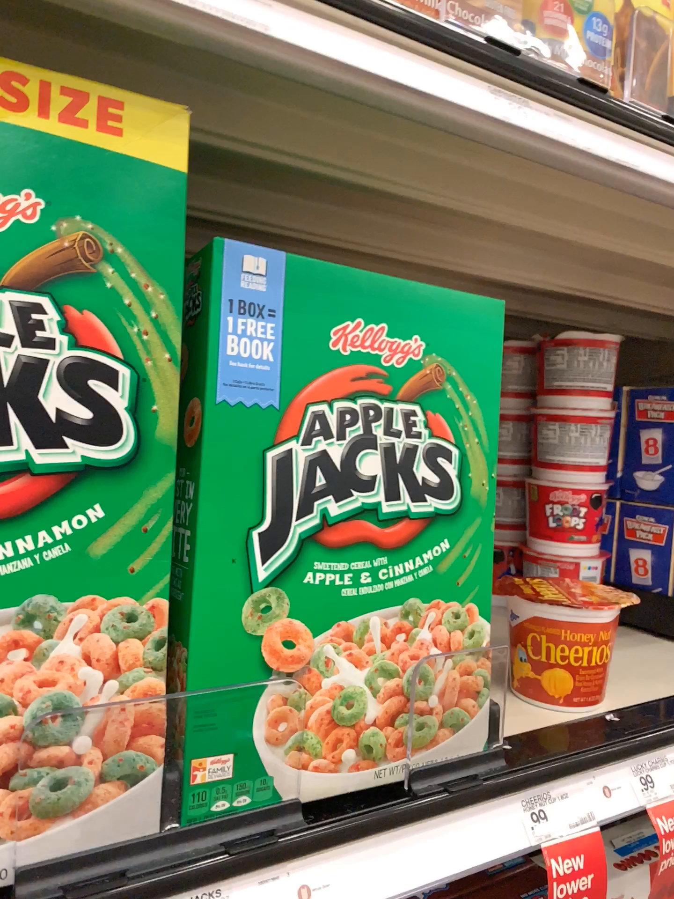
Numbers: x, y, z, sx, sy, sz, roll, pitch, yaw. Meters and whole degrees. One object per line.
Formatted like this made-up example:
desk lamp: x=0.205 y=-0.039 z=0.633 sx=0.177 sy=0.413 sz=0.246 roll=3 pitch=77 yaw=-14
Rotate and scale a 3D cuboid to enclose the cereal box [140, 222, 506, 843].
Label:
cereal box: x=0.001 y=0.041 z=0.406 sx=0.200 sy=0.290 sz=0.060 roll=3 pitch=-3 yaw=-32
